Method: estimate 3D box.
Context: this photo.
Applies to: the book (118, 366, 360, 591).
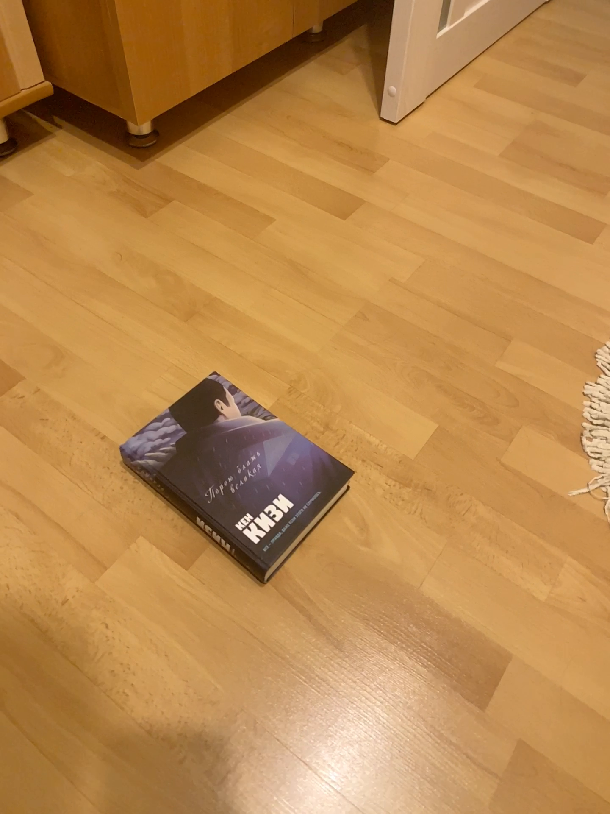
[{"bbox_3d":[-0.074,0.071,0.701,0.224,0.050,0.151,35,61,23],"label":"book"}]
